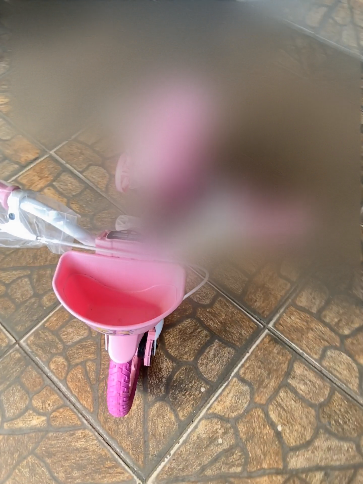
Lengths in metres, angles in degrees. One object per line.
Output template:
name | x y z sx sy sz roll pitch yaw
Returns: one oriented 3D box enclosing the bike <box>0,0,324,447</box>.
bike | -0.063 -0.058 0.823 0.510 0.563 0.794 12 60 6
